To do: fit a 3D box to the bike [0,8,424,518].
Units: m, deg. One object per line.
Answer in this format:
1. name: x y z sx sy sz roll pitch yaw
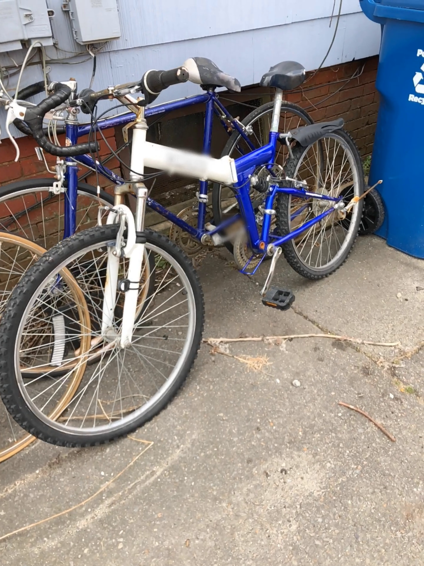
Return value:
1. bike: 0.002 -0.260 1.677 0.563 0.979 1.735 28 48 35
